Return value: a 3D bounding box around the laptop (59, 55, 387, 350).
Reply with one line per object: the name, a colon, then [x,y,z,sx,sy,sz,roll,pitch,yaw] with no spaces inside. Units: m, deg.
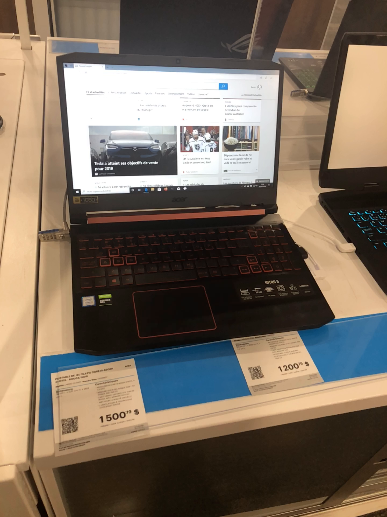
laptop: [0.004,-0.105,0.612,0.357,0.211,0.360,-4,47,-14]
